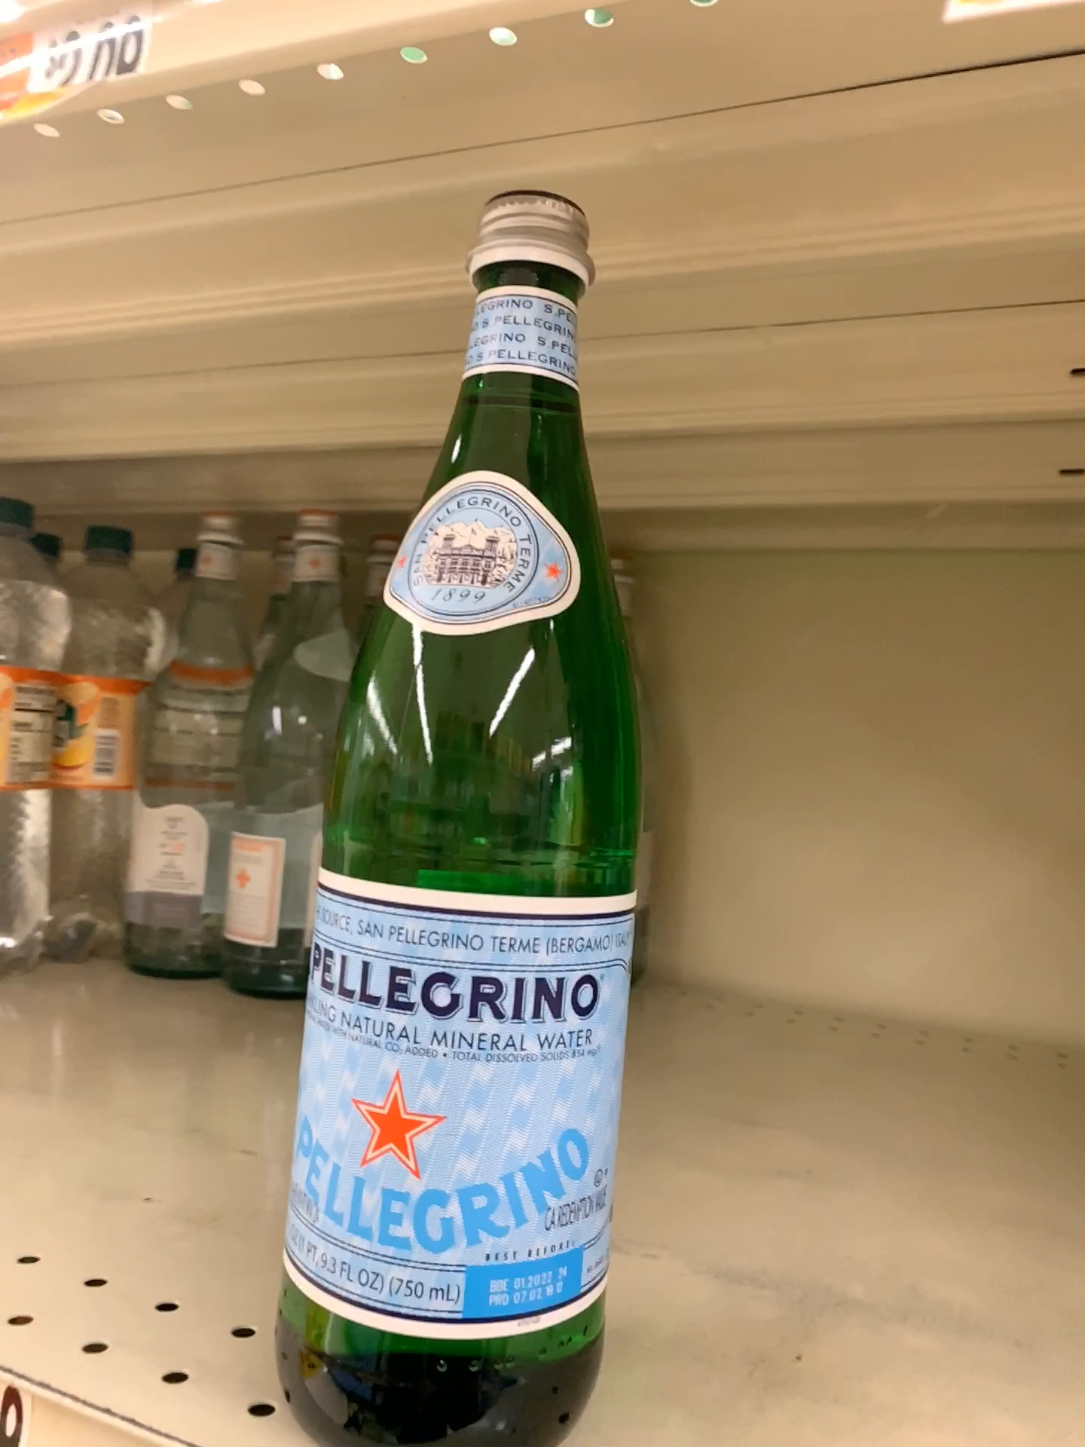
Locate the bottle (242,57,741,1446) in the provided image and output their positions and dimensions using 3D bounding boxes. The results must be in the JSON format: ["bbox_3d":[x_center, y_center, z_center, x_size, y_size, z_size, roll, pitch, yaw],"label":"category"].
[{"bbox_3d":[-0.010,0.016,0.271,0.078,0.302,0.065,3,-1,30],"label":"bottle"}]
